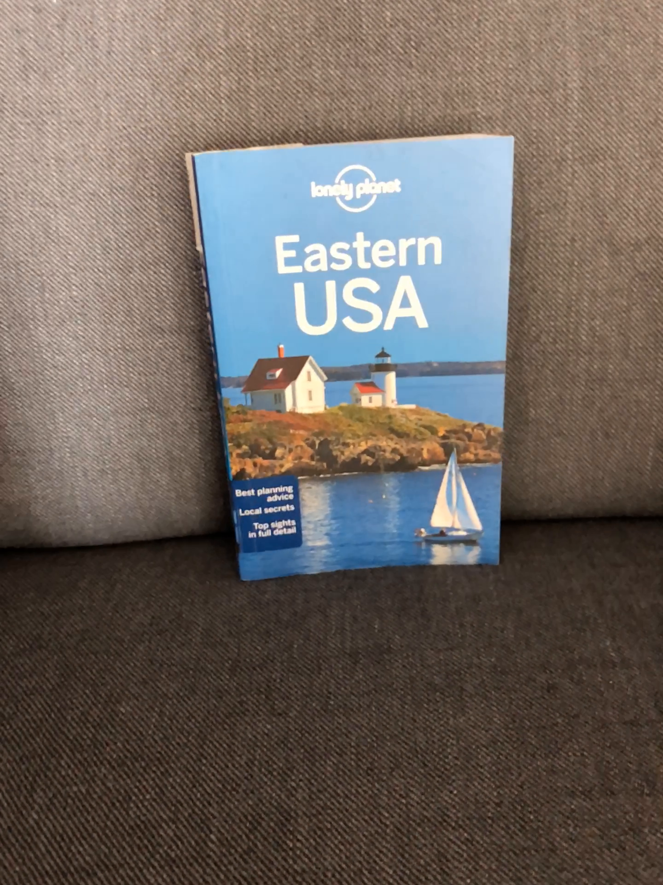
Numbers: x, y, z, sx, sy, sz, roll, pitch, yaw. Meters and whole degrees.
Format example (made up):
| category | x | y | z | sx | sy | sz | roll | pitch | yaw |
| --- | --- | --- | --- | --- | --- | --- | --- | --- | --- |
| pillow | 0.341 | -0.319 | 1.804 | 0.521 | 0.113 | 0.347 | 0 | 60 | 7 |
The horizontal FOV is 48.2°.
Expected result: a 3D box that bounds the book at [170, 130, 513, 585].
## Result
| category | x | y | z | sx | sy | sz | roll | pitch | yaw |
| --- | --- | --- | --- | --- | --- | --- | --- | --- | --- |
| book | 0.009 | -0.033 | 0.345 | 0.134 | 0.200 | 0.039 | -3 | 22 | 2 |
